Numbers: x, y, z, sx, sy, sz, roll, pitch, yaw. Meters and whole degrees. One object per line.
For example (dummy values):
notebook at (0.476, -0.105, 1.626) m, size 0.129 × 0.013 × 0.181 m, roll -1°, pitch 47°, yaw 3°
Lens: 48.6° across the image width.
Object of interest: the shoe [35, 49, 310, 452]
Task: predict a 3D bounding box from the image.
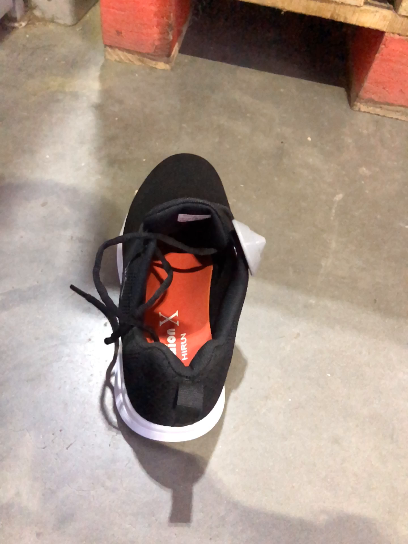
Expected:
shoe at (-0.017, -0.029, 0.343) m, size 0.130 × 0.119 × 0.281 m, roll 5°, pitch 54°, yaw -5°
